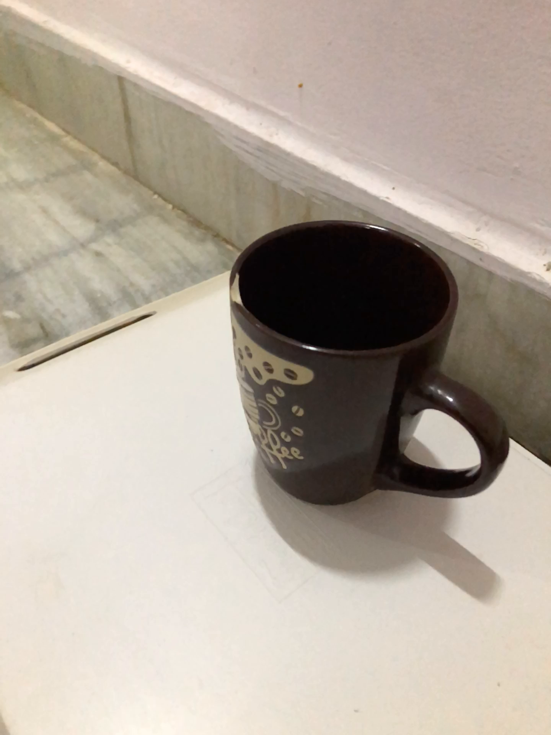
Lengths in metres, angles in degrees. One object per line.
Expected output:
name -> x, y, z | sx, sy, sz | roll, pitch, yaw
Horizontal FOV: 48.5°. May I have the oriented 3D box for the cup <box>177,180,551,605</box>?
cup -> 0.033, 0.005, 0.237 | 0.120, 0.099, 0.070 | 31, 50, 28
